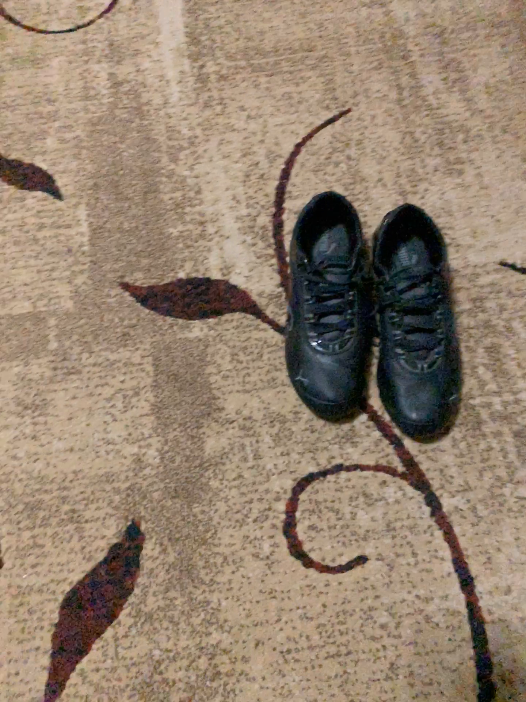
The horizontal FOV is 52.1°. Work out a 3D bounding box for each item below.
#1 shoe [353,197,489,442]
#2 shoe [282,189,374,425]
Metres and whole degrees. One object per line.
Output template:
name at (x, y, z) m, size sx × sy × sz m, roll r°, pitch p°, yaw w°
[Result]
shoe at (0.156, -0.035, 0.565) m, size 0.088 × 0.073 × 0.244 m, roll -4°, pitch 68°, yaw 2°
shoe at (0.066, -0.050, 0.577) m, size 0.085 × 0.073 × 0.244 m, roll 1°, pitch 68°, yaw 4°
